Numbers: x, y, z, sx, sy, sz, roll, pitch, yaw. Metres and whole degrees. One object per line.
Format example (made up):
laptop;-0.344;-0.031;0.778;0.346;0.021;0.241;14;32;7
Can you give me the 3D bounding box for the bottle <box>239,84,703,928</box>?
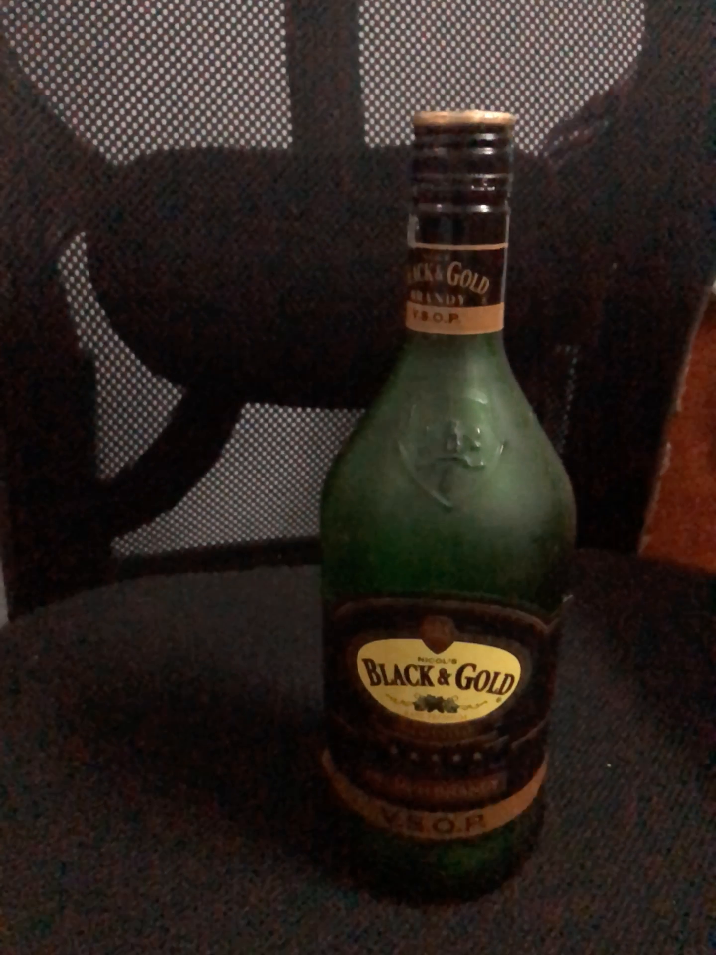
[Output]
bottle;0.024;0.017;0.278;0.110;0.269;0.080;5;23;6
